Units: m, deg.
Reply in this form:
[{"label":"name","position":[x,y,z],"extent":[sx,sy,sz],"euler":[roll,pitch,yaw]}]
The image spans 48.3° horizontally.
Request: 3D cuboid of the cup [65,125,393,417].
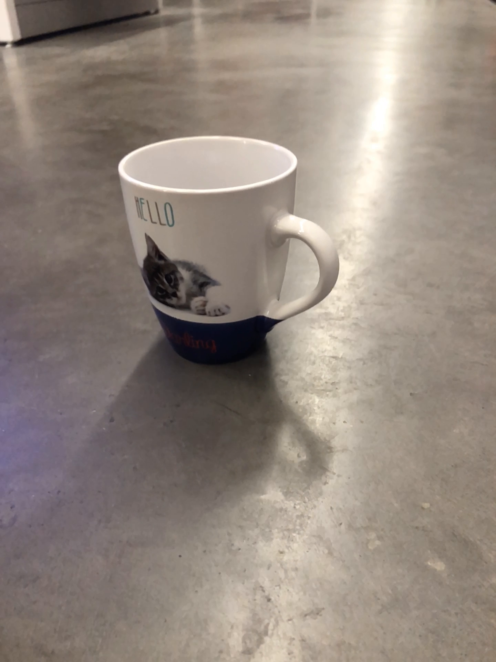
[{"label":"cup","position":[-0.006,-0.044,0.309],"extent":[0.127,0.098,0.112],"euler":[20,39,28]}]
